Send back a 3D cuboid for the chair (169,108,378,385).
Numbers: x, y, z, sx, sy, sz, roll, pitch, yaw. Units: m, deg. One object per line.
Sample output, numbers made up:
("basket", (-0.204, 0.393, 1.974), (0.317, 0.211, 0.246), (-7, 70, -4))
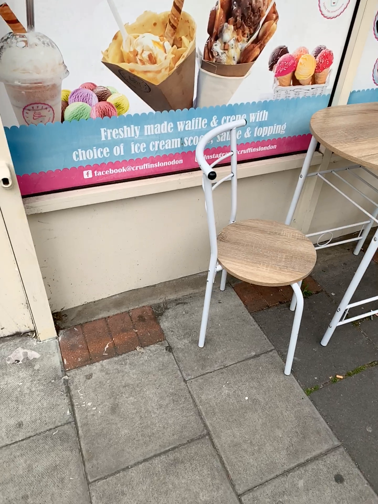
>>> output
("chair", (0.235, -0.021, 1.367), (0.500, 0.752, 0.535), (9, 39, 6))
